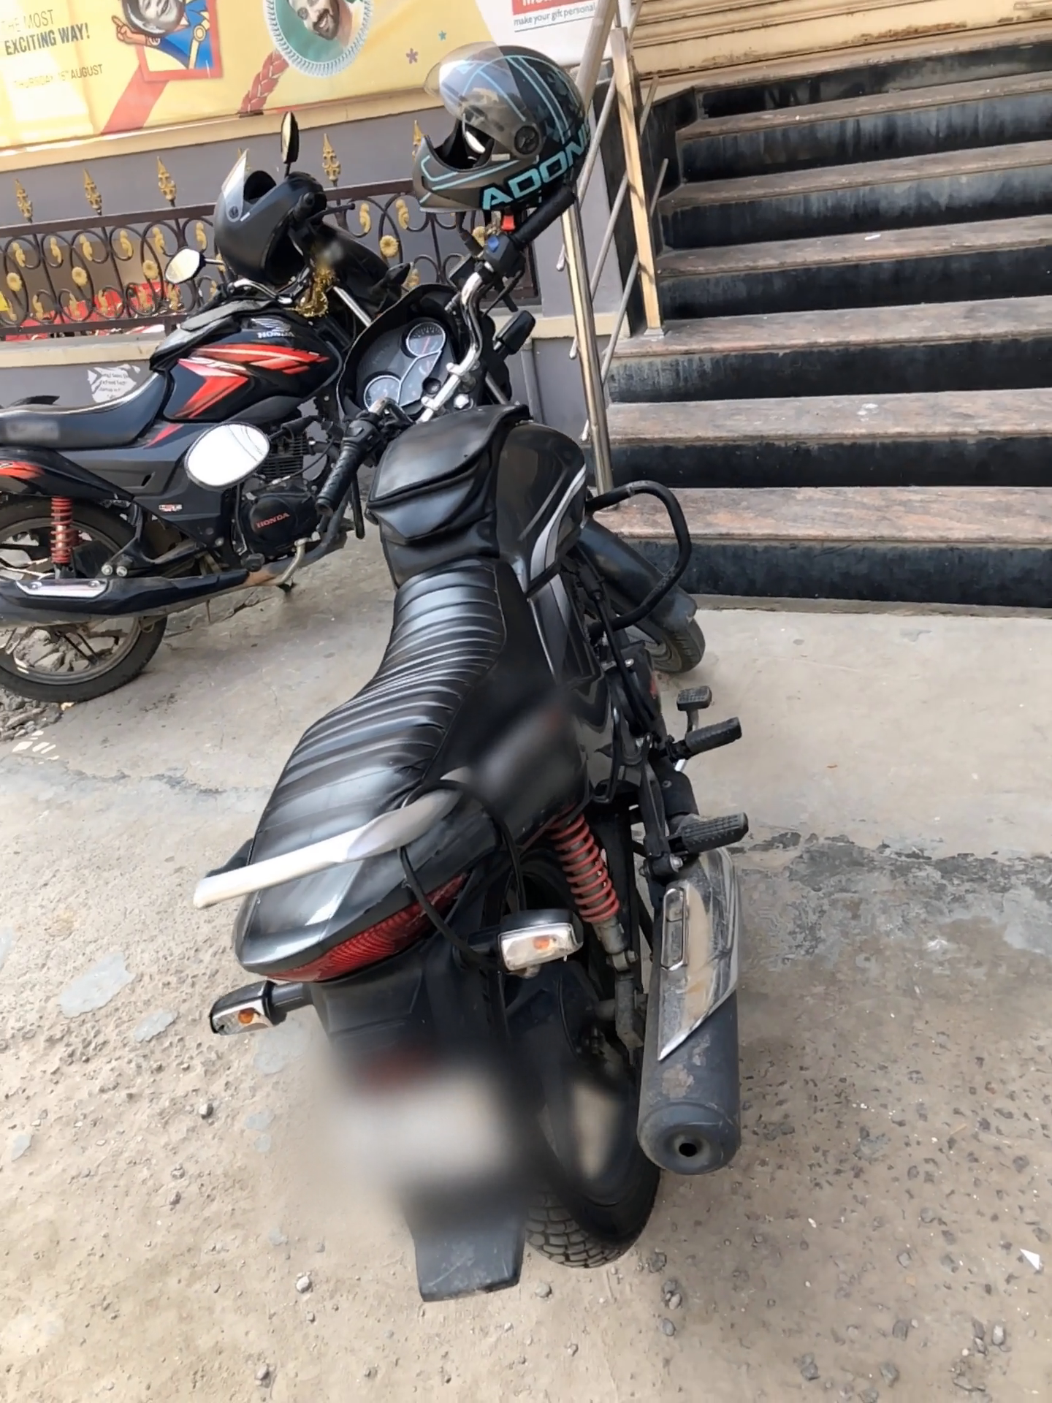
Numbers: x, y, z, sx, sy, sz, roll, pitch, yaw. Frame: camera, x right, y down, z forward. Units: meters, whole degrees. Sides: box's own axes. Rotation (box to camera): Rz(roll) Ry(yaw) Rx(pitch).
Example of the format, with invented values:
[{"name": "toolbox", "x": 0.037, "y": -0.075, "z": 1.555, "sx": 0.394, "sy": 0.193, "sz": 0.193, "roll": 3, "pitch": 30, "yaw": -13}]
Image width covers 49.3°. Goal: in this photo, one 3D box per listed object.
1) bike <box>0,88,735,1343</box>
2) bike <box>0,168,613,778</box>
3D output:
[{"name": "bike", "x": -0.237, "y": -0.194, "z": 1.872, "sx": 0.746, "sy": 1.156, "sz": 1.745, "roll": -8, "pitch": 32, "yaw": 4}, {"name": "bike", "x": -0.701, "y": -0.671, "z": 2.969, "sx": 1.602, "sy": 1.056, "sz": 0.686, "roll": -22, "pitch": 31, "yaw": -23}]
